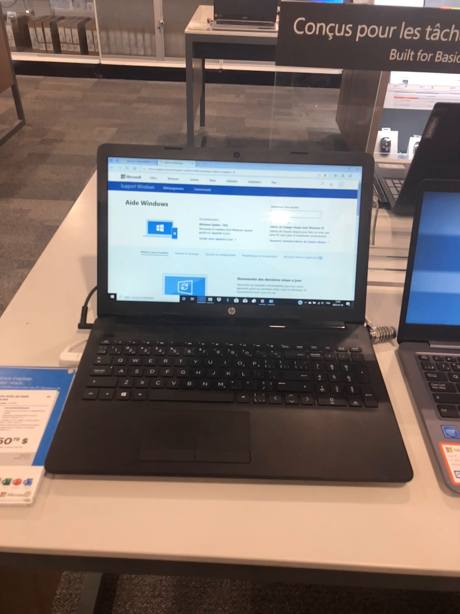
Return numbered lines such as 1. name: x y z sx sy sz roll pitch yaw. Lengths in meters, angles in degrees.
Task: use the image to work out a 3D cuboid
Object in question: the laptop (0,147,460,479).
1. laptop: 0.002 -0.023 0.579 0.356 0.195 0.361 1 36 0
